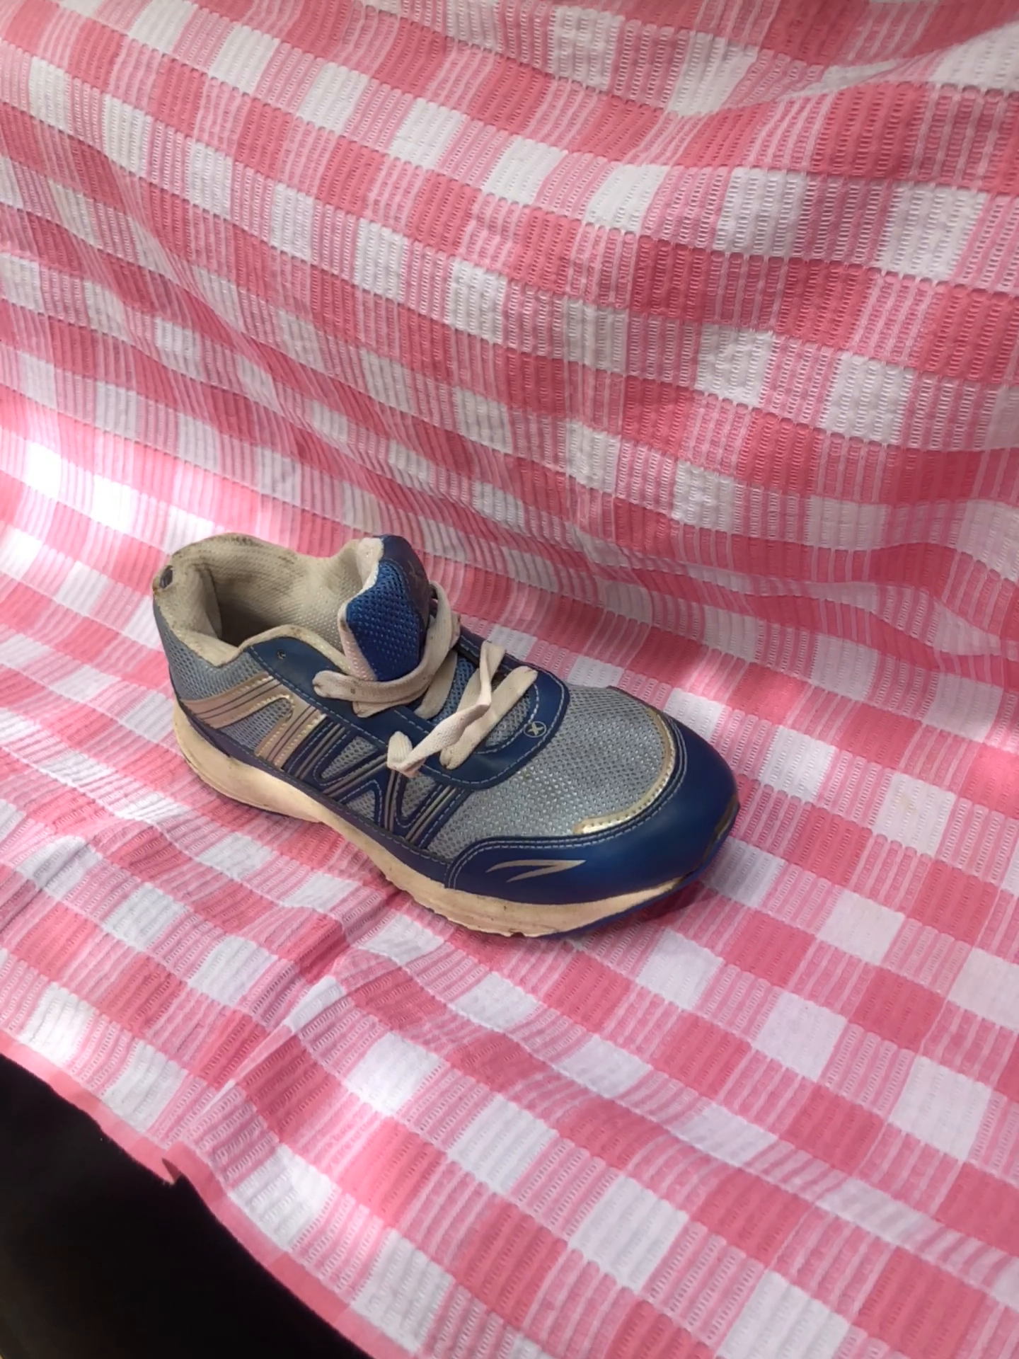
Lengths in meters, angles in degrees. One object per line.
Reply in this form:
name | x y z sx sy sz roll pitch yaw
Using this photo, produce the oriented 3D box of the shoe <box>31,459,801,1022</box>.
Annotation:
shoe | -0.041 0.006 0.449 0.280 0.099 0.111 18 44 29
